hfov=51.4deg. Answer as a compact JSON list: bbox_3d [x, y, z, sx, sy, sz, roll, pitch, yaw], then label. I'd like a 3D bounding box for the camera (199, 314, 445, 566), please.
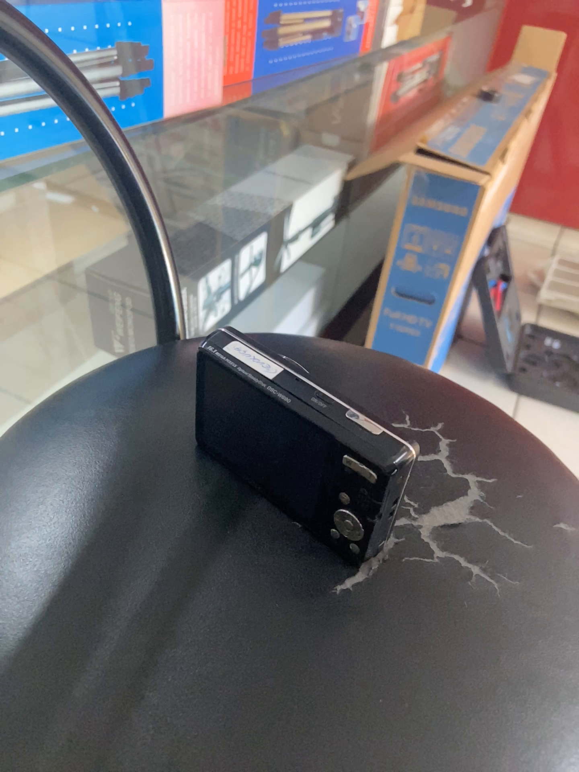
[{"bbox_3d":[0.006,0.018,0.235,0.097,0.051,0.024,33,44,28],"label":"camera"}]
